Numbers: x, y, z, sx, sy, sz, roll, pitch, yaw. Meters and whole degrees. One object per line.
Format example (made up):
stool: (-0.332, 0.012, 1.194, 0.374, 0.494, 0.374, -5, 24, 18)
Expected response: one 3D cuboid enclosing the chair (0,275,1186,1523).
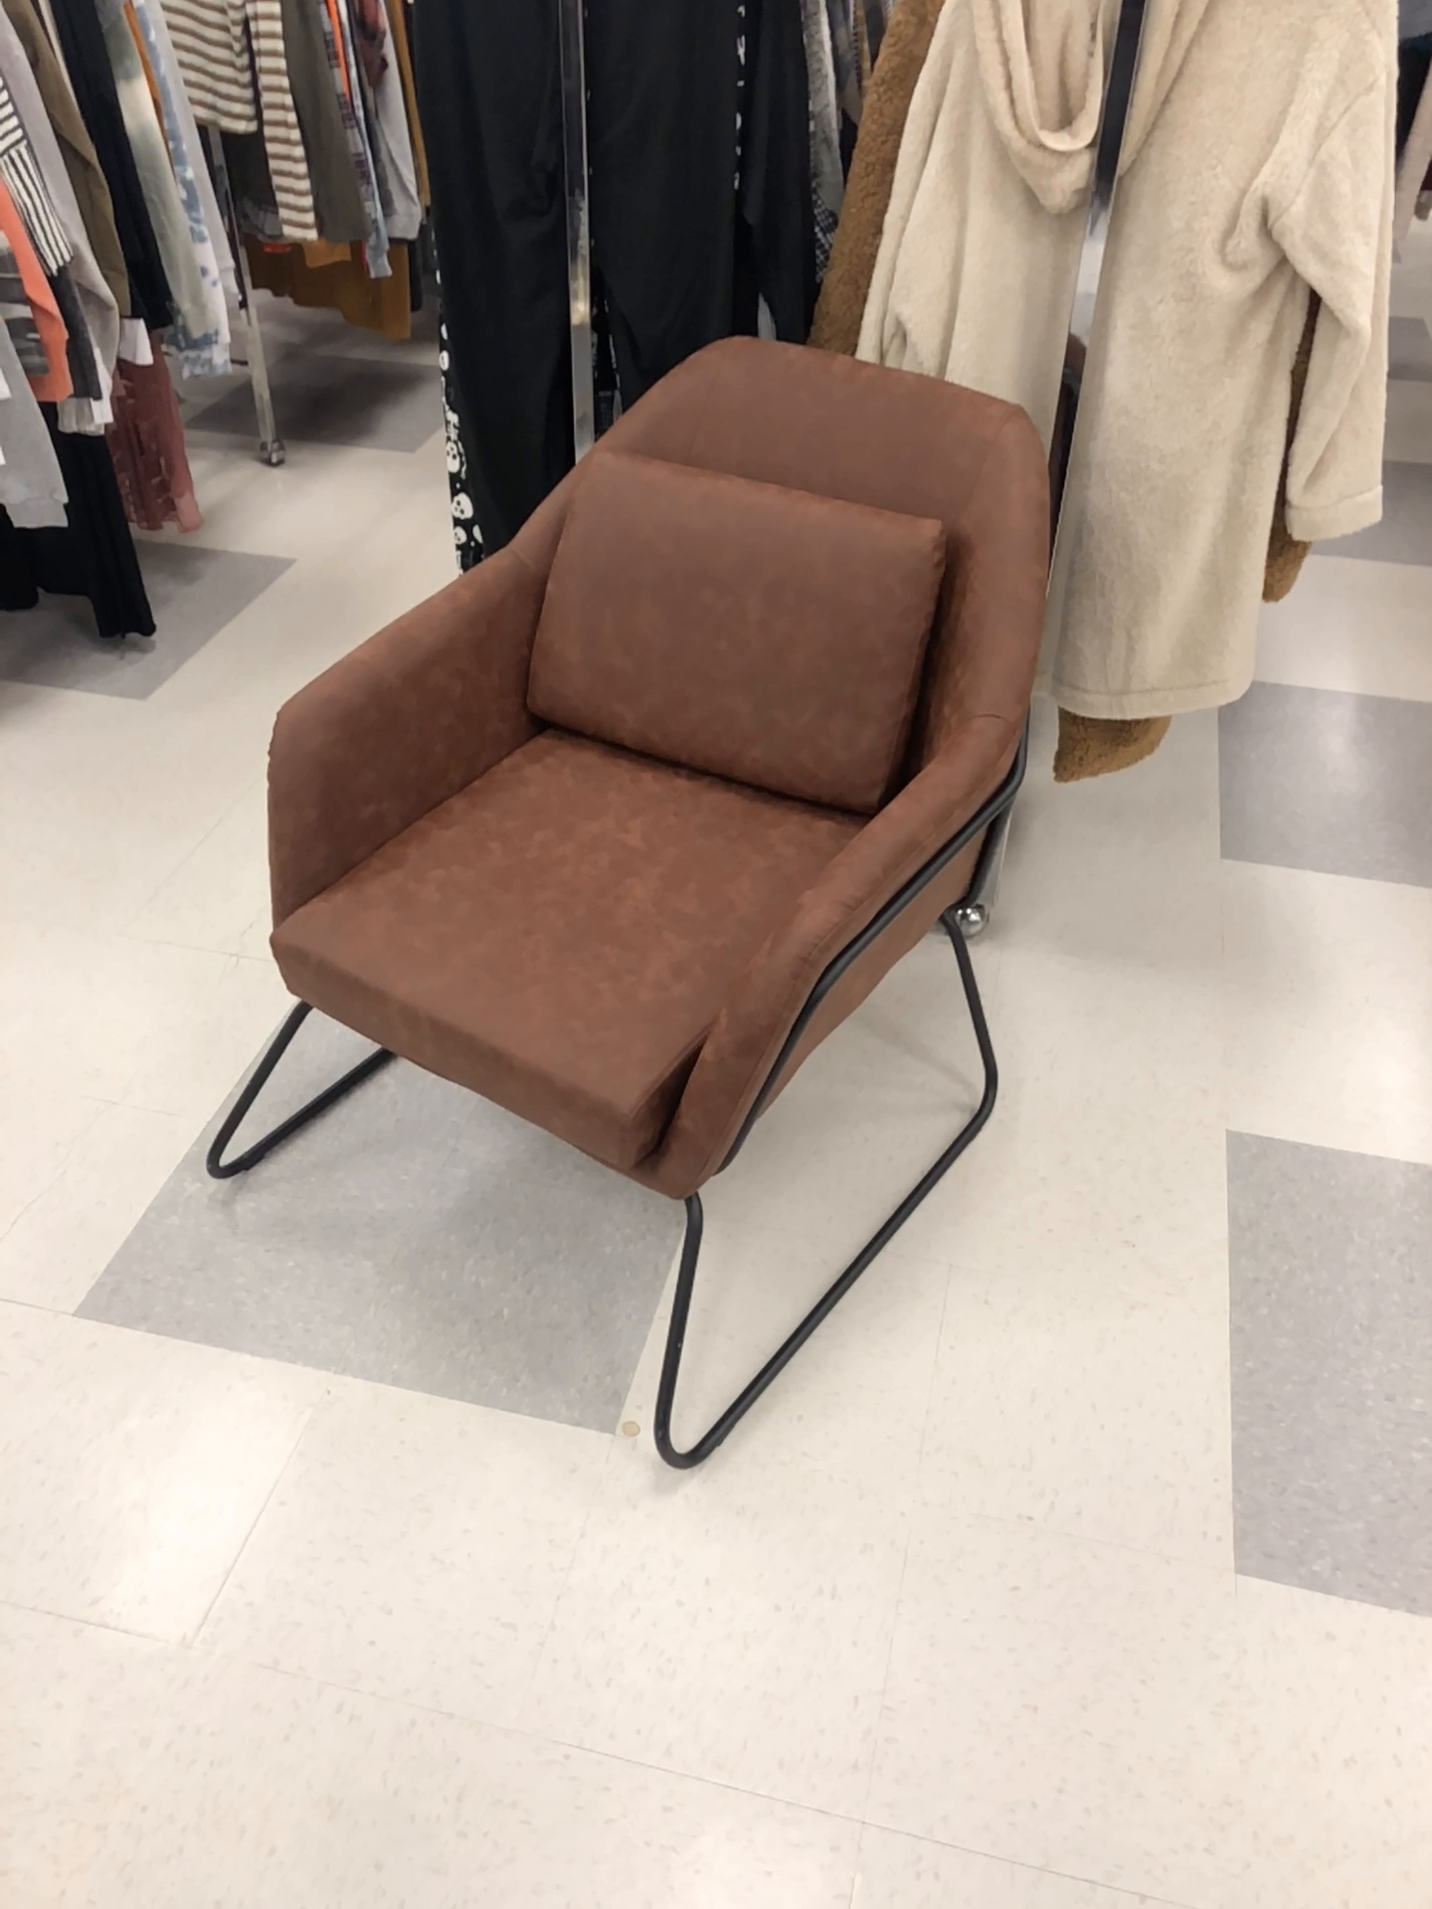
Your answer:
chair: (-0.085, -0.120, 1.642, 0.735, 0.849, 0.762, 24, 43, 27)
